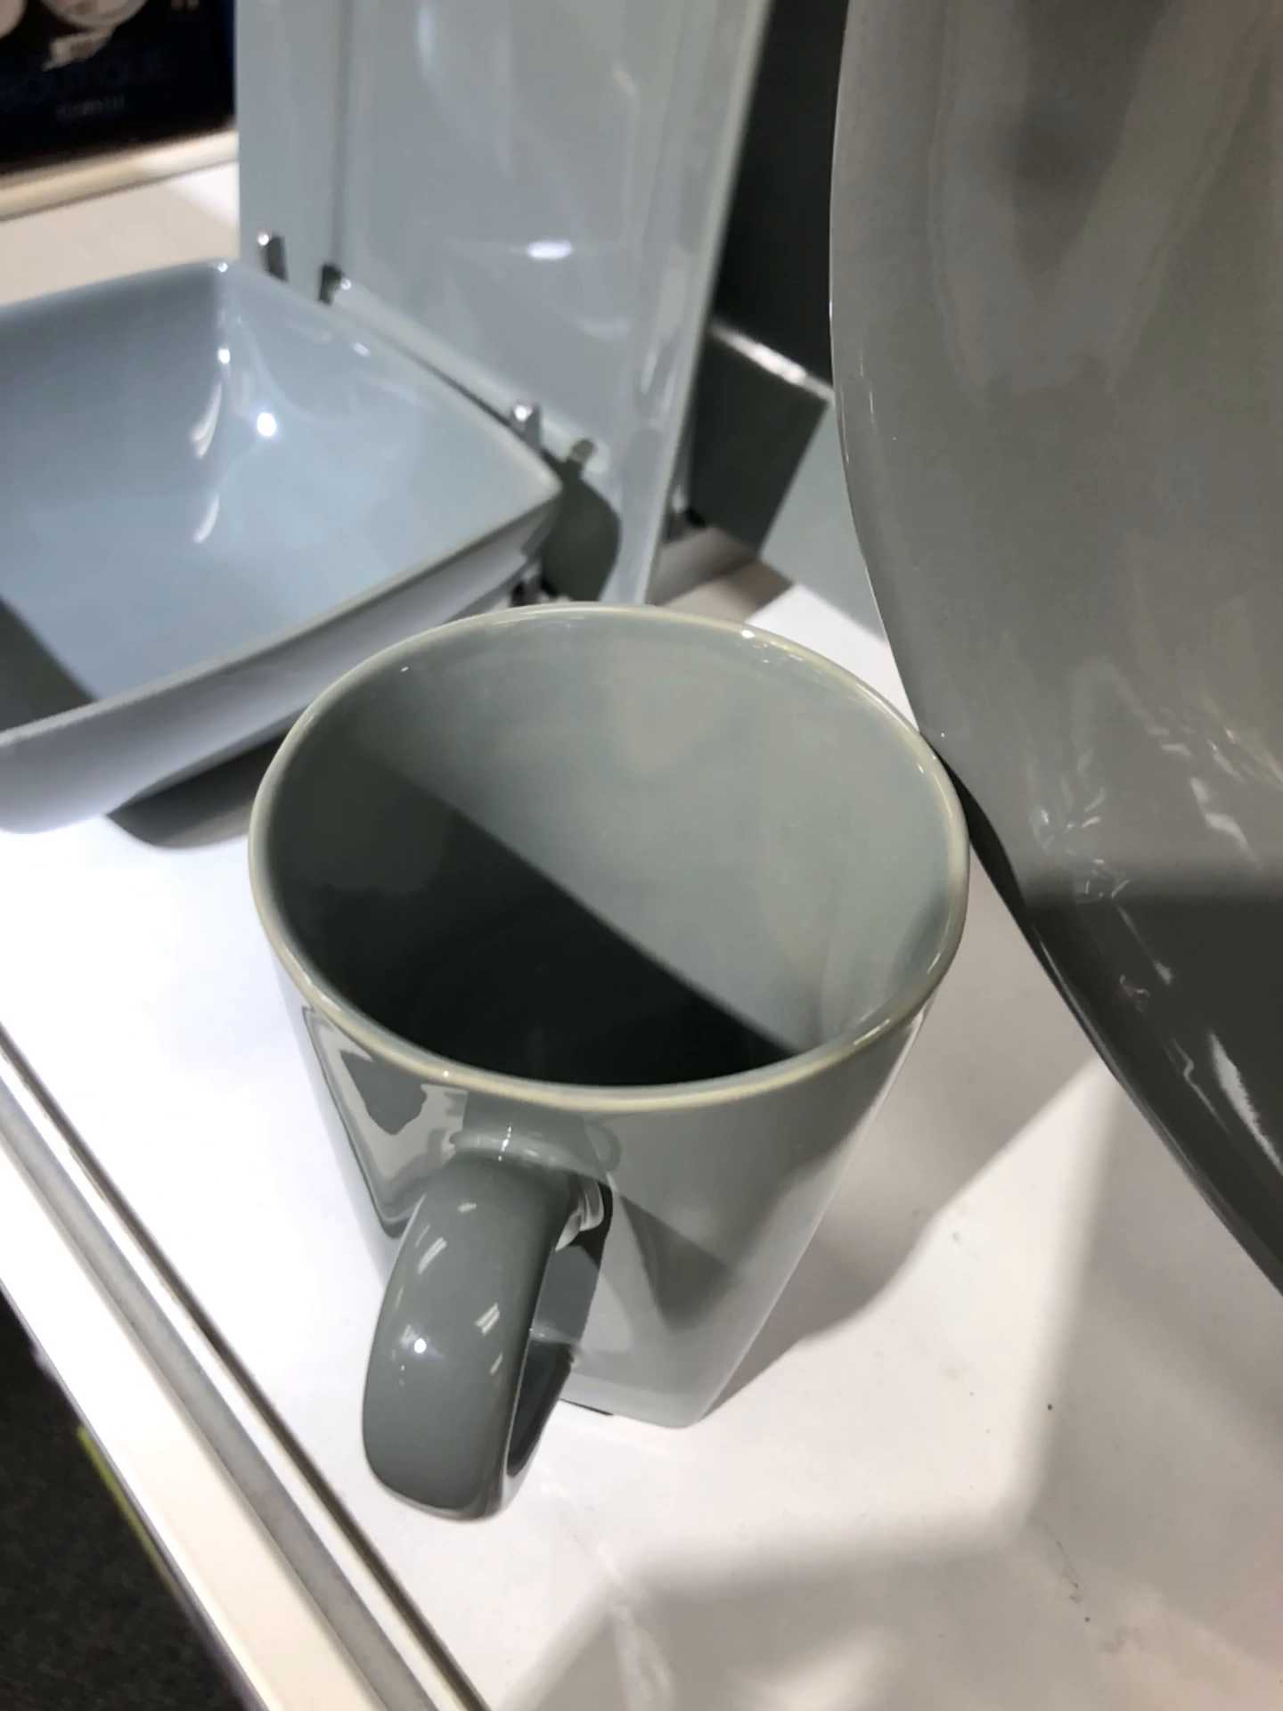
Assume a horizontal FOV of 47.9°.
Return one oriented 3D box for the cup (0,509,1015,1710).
[{"bbox_3d":[-0.014,0.033,0.202,0.100,0.097,0.118,12,47,9],"label":"cup"}]
